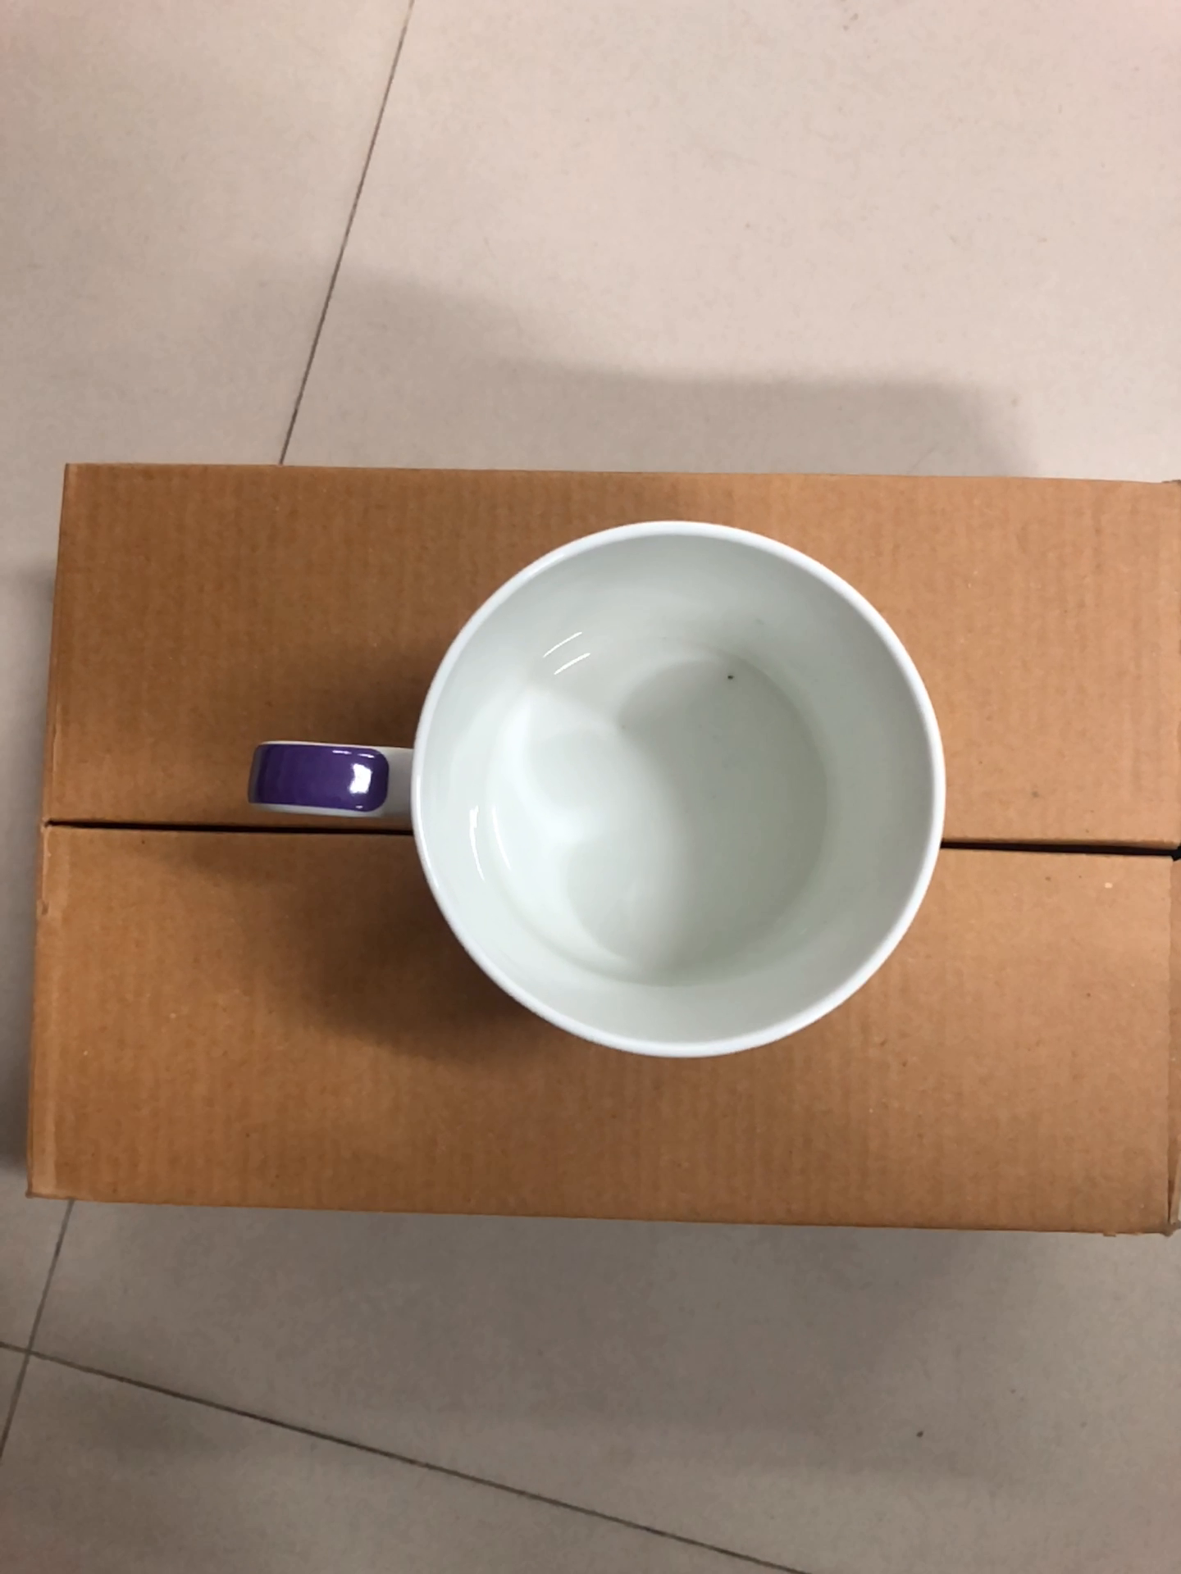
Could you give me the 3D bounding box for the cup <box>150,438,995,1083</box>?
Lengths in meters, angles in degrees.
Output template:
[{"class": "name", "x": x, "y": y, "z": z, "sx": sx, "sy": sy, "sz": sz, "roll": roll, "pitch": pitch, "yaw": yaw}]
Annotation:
[{"class": "cup", "x": -0.001, "y": -0.003, "z": 0.237, "sx": 0.120, "sy": 0.090, "sz": 0.090, "roll": 2, "pitch": 87, "yaw": 1}]
